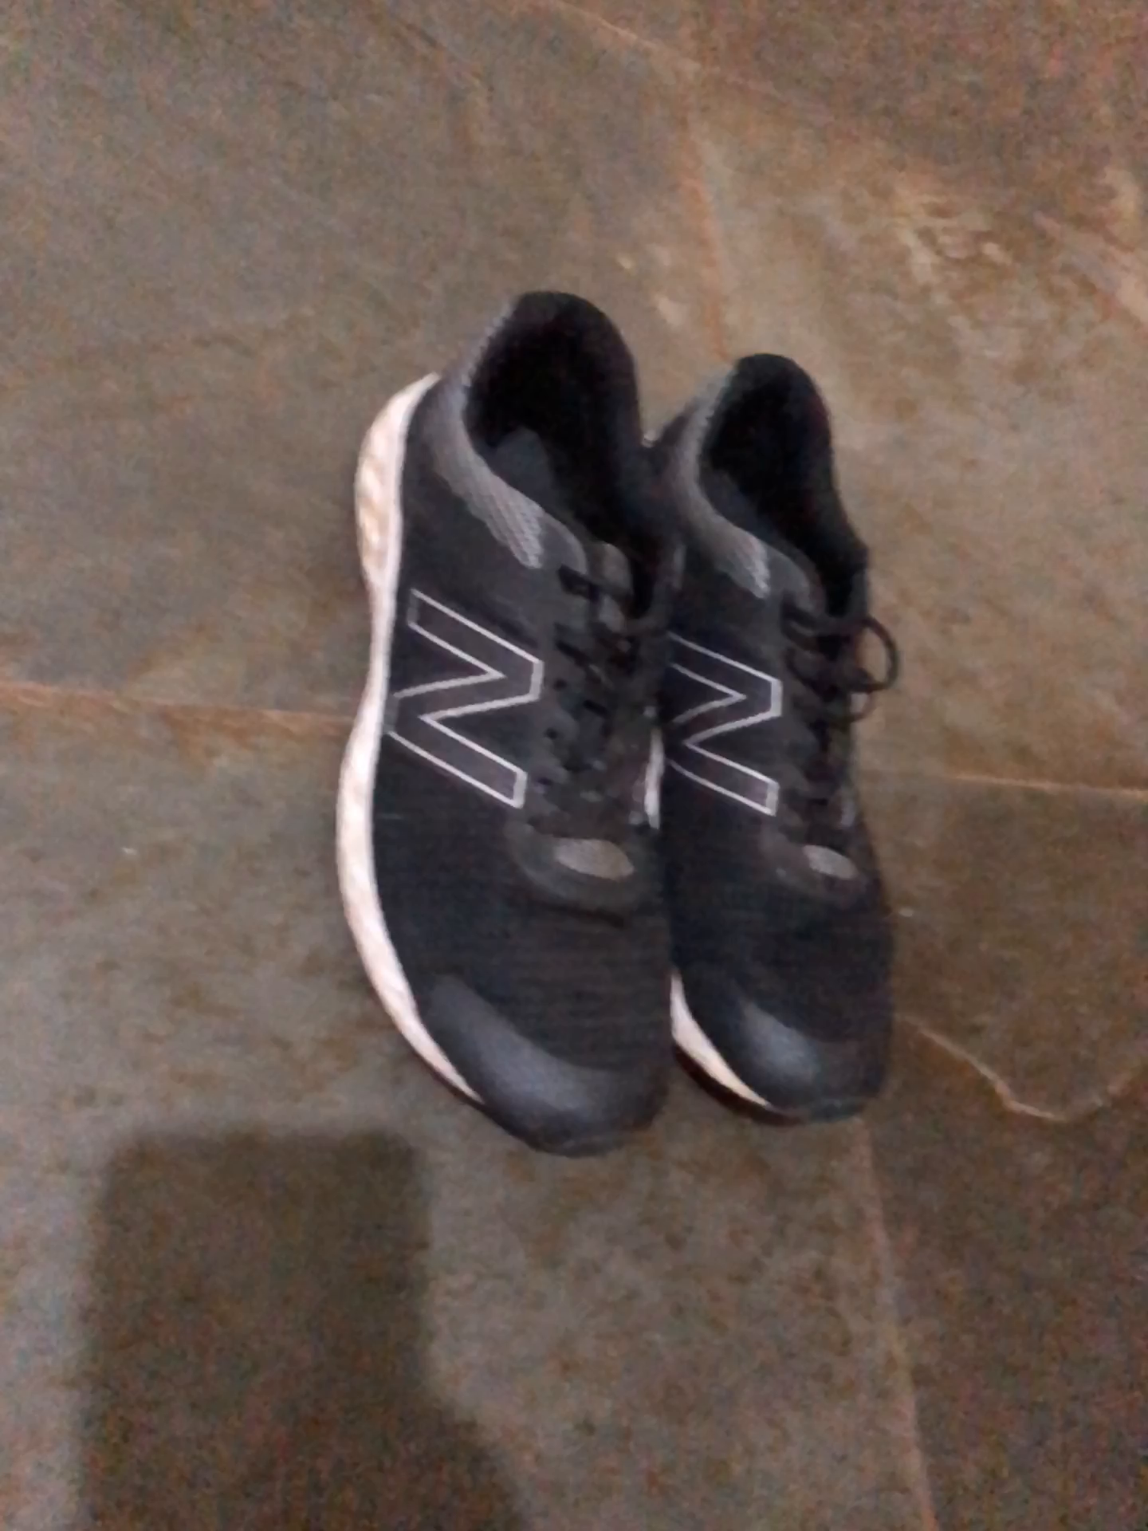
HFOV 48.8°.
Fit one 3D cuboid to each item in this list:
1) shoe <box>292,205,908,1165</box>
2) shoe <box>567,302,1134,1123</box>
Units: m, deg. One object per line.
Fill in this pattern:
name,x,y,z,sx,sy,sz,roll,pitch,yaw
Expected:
shoe,-0.003,-0.022,0.399,0.121,0.099,0.261,2,69,-31
shoe,0.089,-0.017,0.458,0.111,0.099,0.261,2,69,-31
